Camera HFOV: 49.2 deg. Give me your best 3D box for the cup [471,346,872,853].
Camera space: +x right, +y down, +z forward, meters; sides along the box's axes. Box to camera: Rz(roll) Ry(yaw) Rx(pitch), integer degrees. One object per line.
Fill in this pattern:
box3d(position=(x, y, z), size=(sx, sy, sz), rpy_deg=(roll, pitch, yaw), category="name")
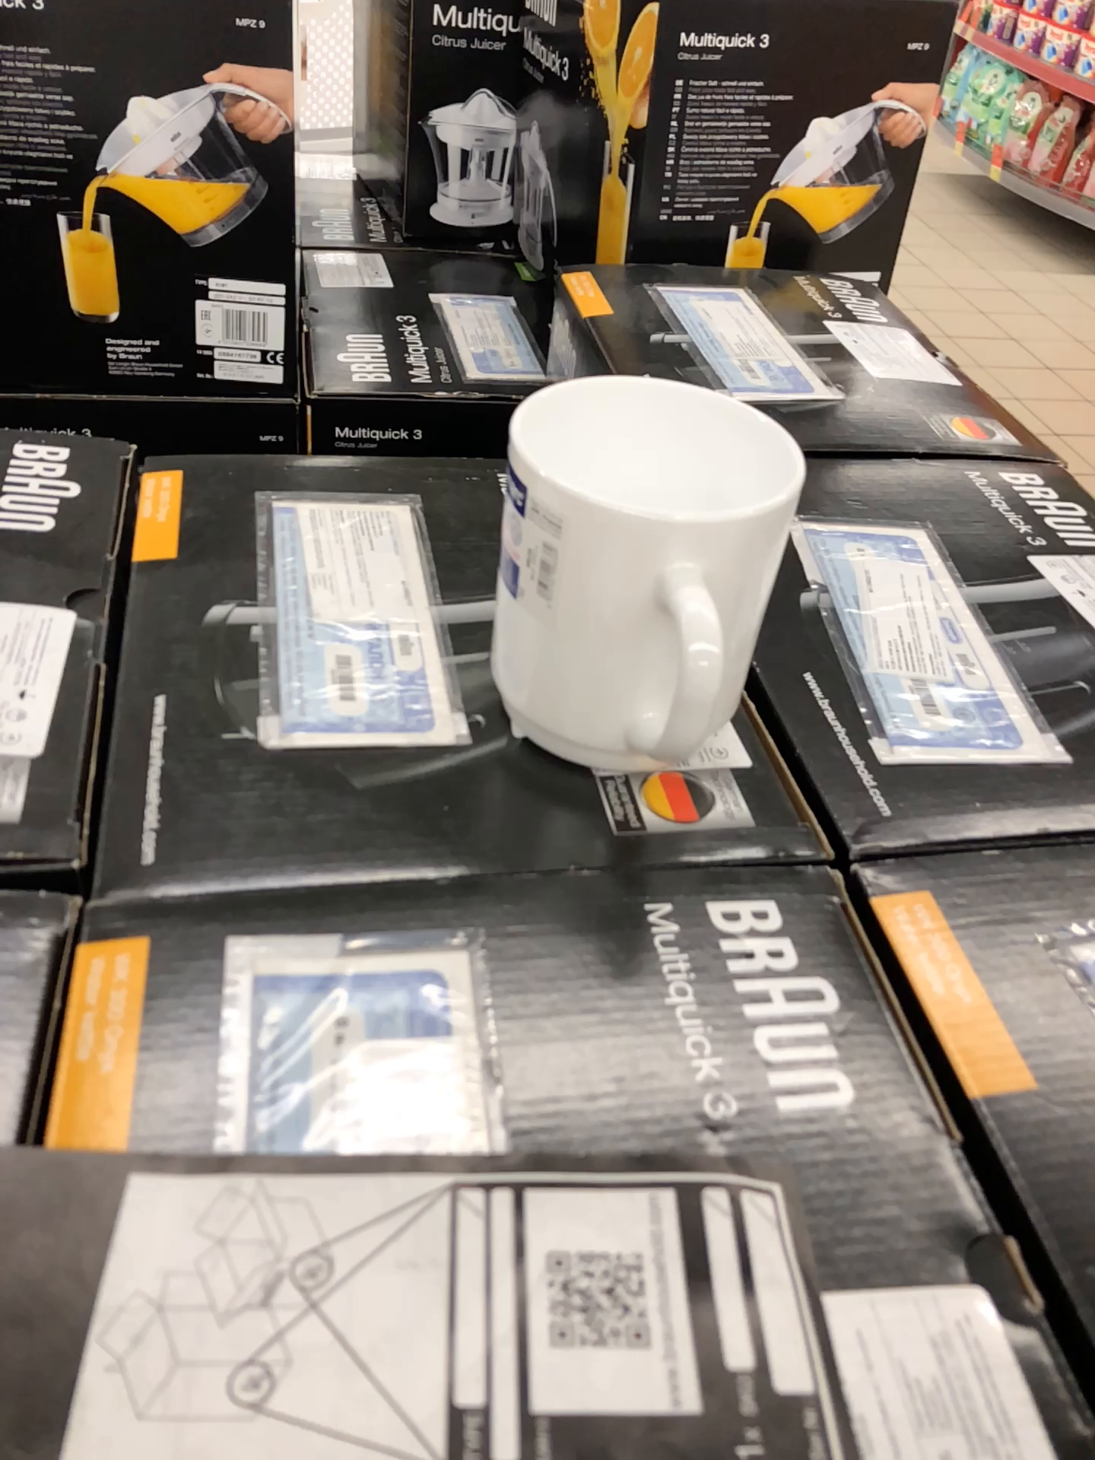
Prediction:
box3d(position=(0.024, -0.039, 0.336), size=(0.082, 0.091, 0.111), rpy_deg=(-1, 43, -7), category="cup")
